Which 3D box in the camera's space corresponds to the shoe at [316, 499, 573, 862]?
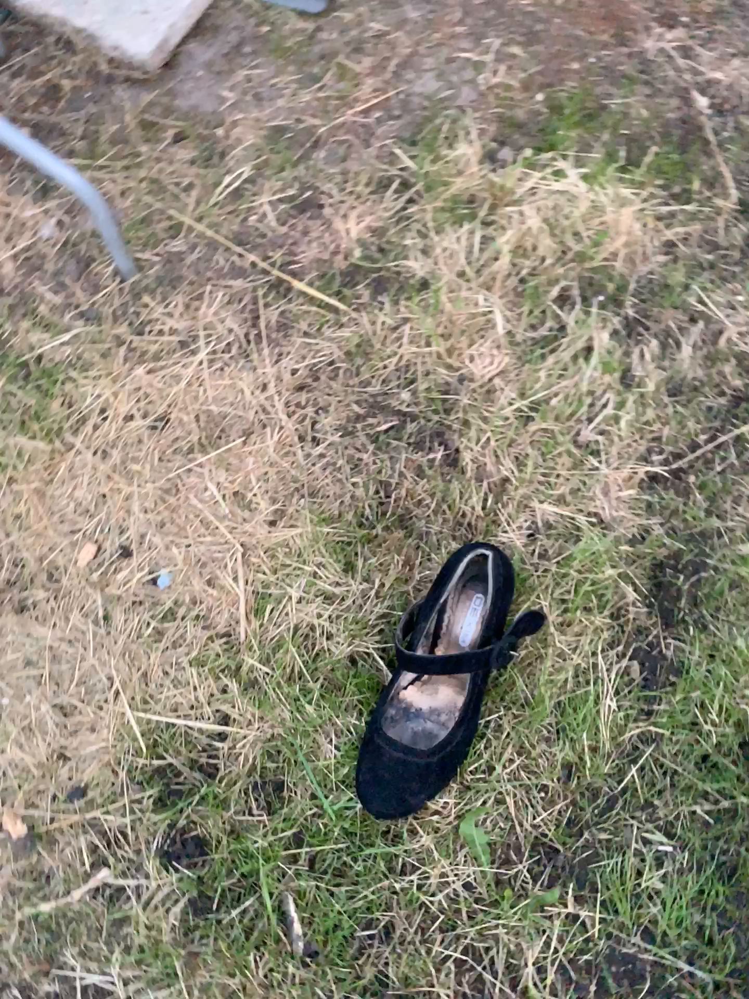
[{"bbox_3d":[0.061,0.146,0.635,0.110,0.109,0.251,22,68,11],"label":"shoe"}]
